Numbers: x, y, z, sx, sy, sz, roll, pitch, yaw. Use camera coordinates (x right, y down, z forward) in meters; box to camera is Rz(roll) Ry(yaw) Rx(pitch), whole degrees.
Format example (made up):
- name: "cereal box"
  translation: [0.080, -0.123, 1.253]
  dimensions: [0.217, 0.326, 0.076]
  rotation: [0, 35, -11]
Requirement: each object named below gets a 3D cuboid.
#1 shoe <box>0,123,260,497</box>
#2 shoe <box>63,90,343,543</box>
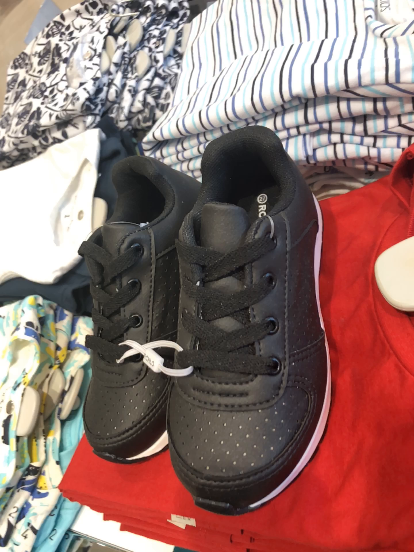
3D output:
- name: "shoe"
  translation: [-0.037, 0.017, 0.263]
  dimensions: [0.080, 0.080, 0.180]
  rotation: [1, 66, 30]
- name: "shoe"
  translation: [0.016, 0.015, 0.230]
  dimensions: [0.080, 0.086, 0.190]
  rotation: [-2, 60, 25]
